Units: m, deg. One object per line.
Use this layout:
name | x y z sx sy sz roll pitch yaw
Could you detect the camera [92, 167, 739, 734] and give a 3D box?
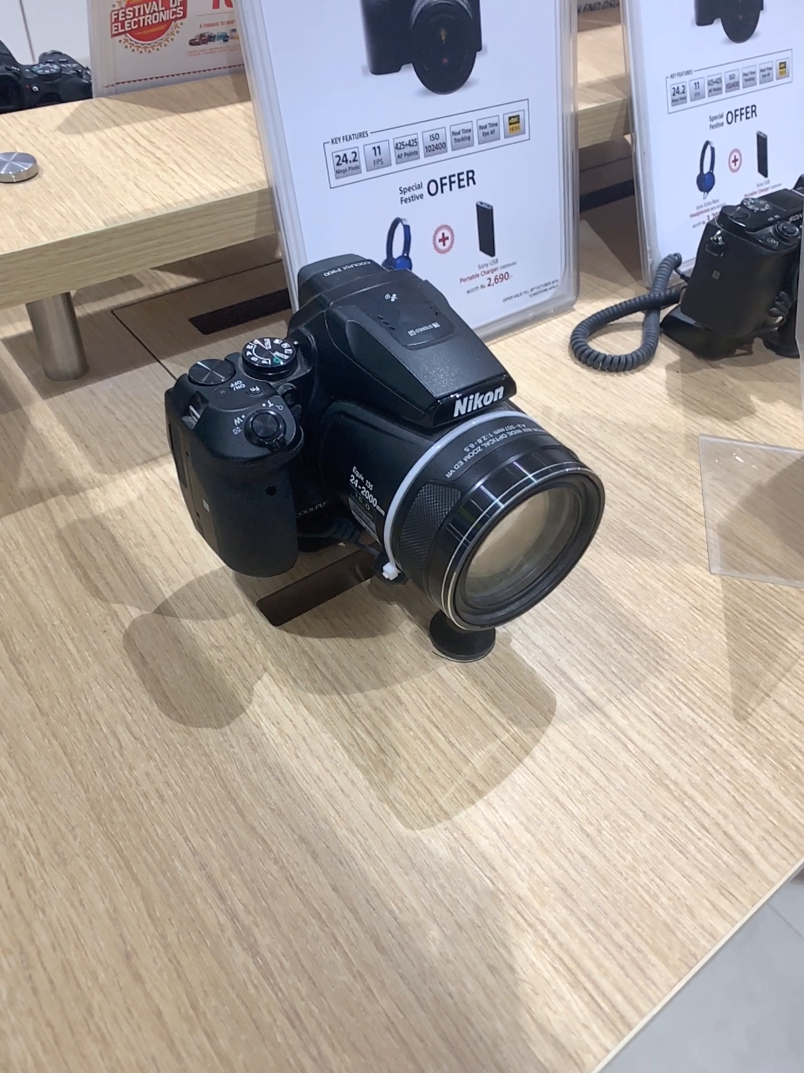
camera | -0.001 -0.044 0.290 0.140 0.090 0.150 -27 53 -27
